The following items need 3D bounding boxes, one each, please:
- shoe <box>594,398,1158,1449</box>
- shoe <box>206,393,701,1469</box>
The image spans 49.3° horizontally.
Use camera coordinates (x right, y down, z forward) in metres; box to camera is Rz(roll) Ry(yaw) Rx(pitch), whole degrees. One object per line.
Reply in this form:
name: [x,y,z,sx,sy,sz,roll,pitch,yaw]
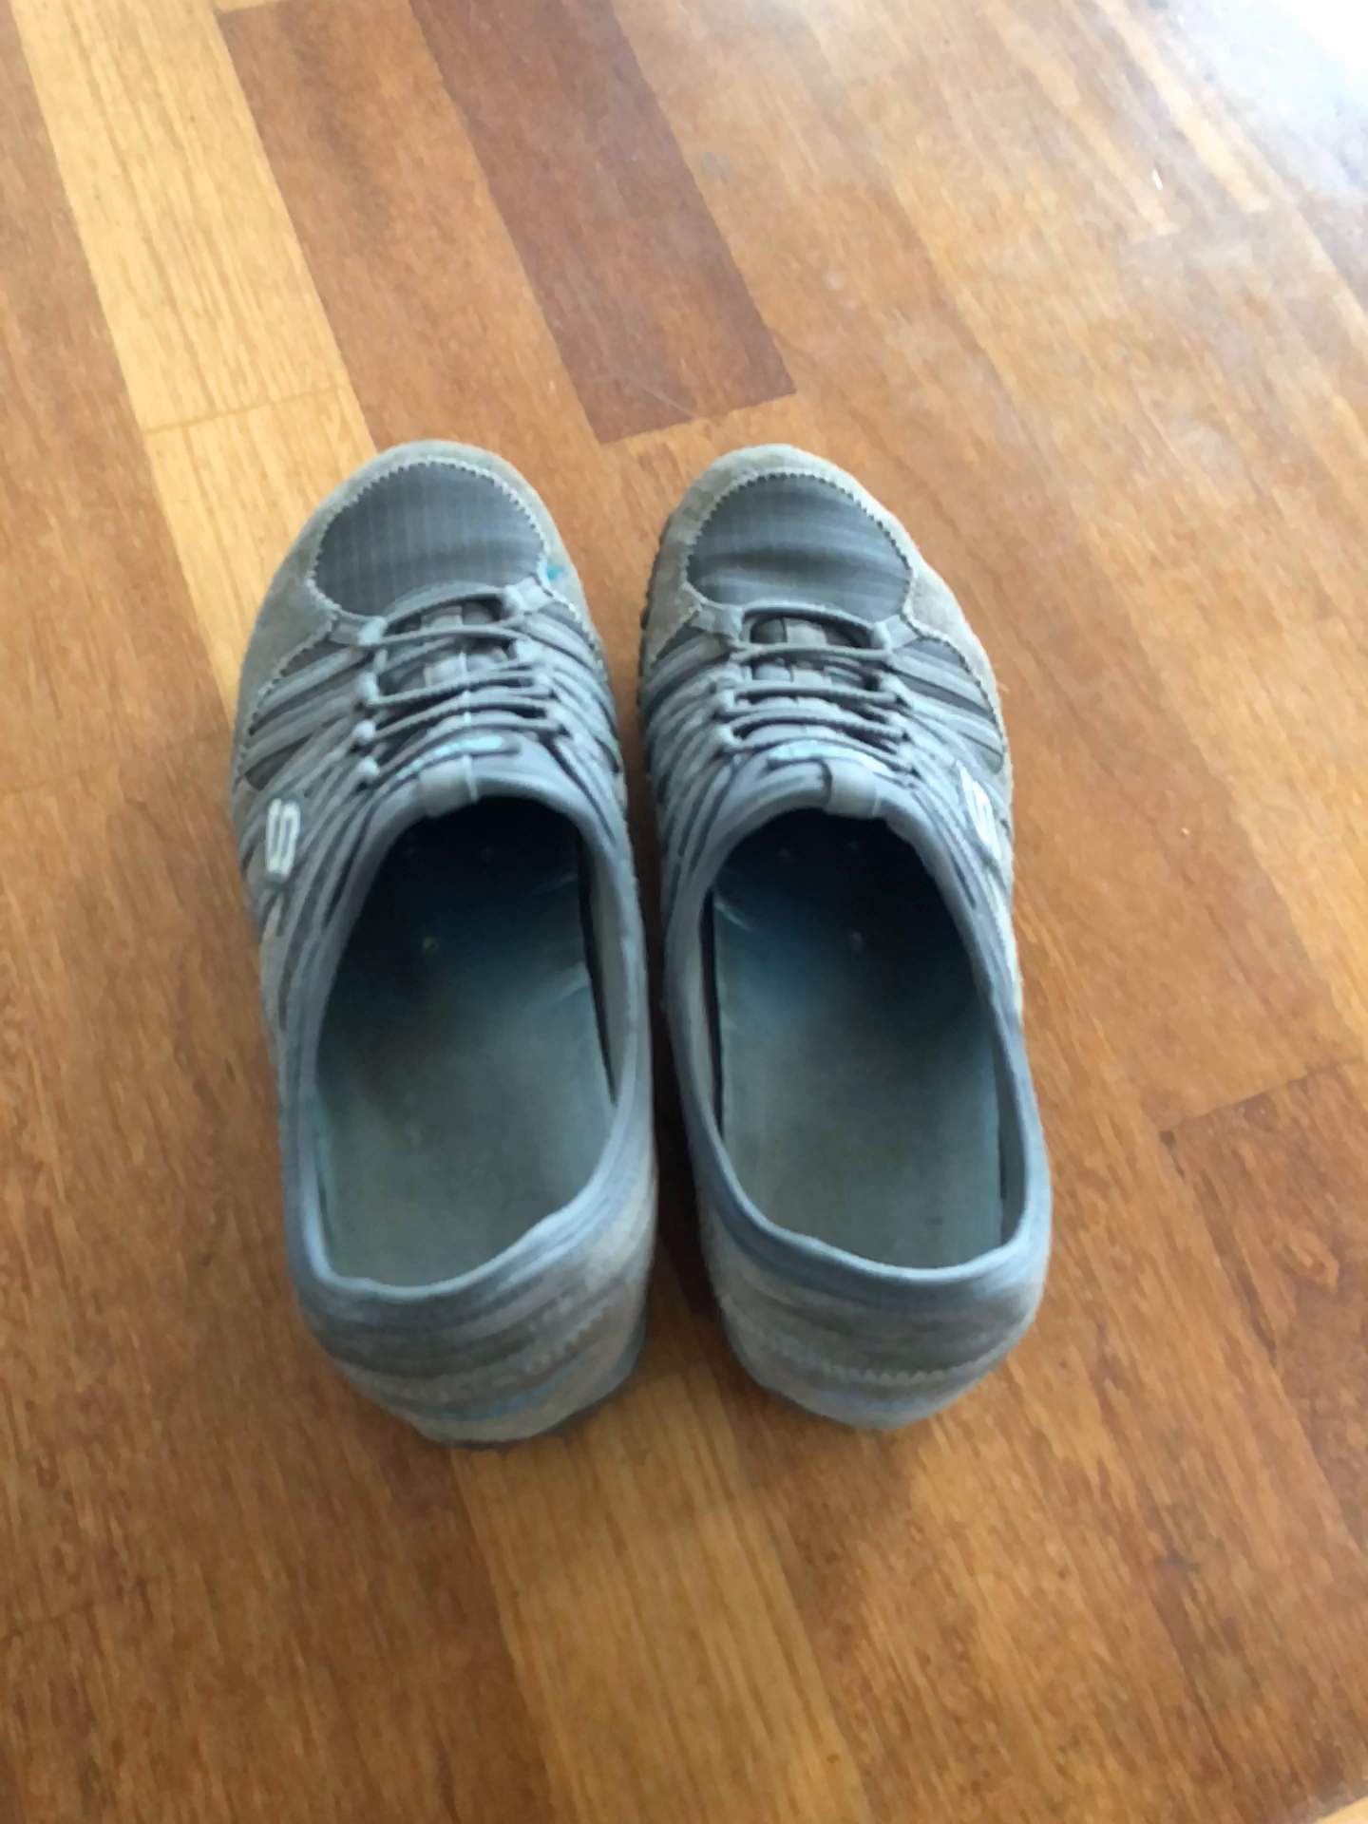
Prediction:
shoe: [0.034,0.003,0.392,0.093,0.106,0.250,-4,69,-6]
shoe: [-0.061,0.005,0.387,0.096,0.106,0.254,-4,69,-6]
